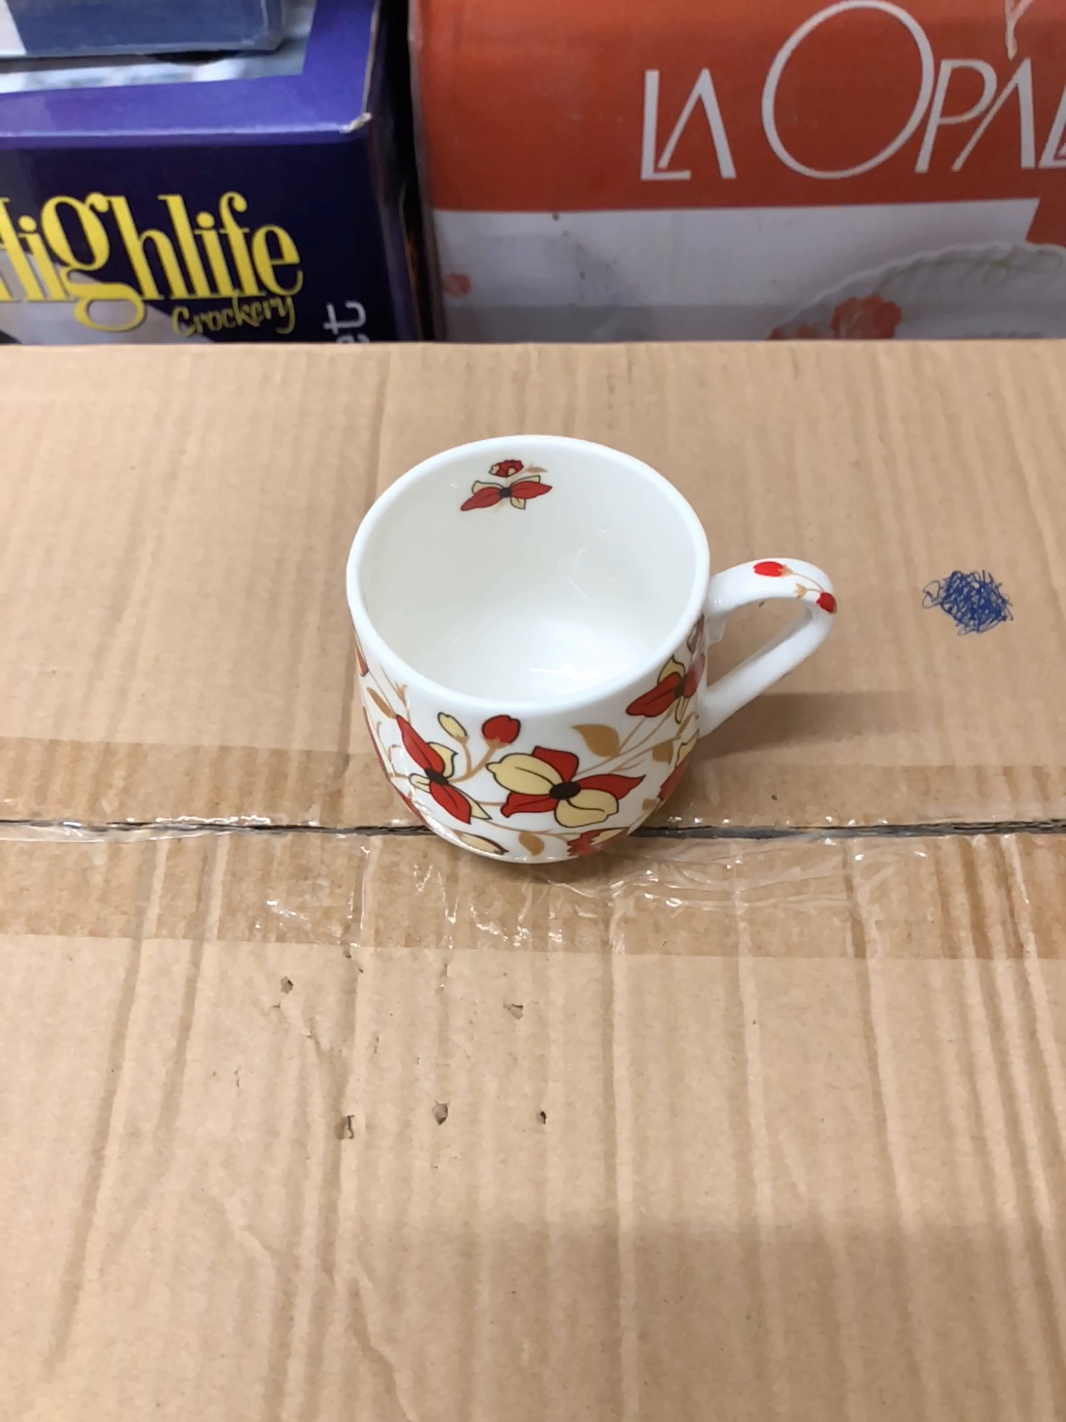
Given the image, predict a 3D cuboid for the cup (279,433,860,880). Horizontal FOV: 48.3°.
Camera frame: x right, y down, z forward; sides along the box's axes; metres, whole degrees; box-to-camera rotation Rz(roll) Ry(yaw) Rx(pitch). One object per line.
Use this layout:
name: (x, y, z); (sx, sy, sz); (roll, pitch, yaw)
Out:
cup: (0.007, -0.009, 0.226); (0.090, 0.060, 0.060); (0, 55, 1)
